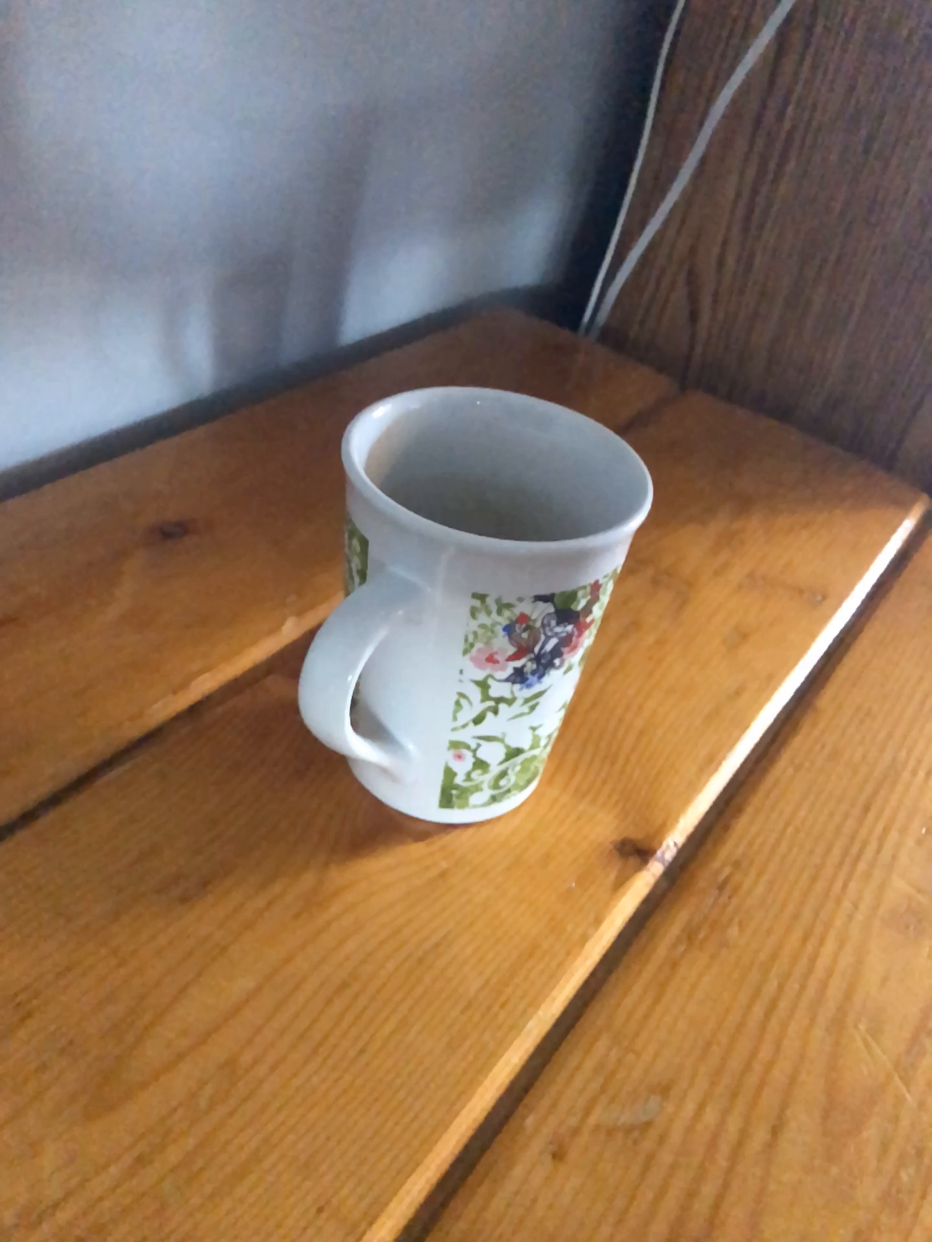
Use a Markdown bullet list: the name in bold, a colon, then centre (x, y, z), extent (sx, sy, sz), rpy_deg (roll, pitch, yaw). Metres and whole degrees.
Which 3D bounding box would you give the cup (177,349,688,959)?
- **cup**: centre (-0.011, 0.003, 0.330), extent (0.090, 0.120, 0.130), rpy_deg (27, 39, 16)
